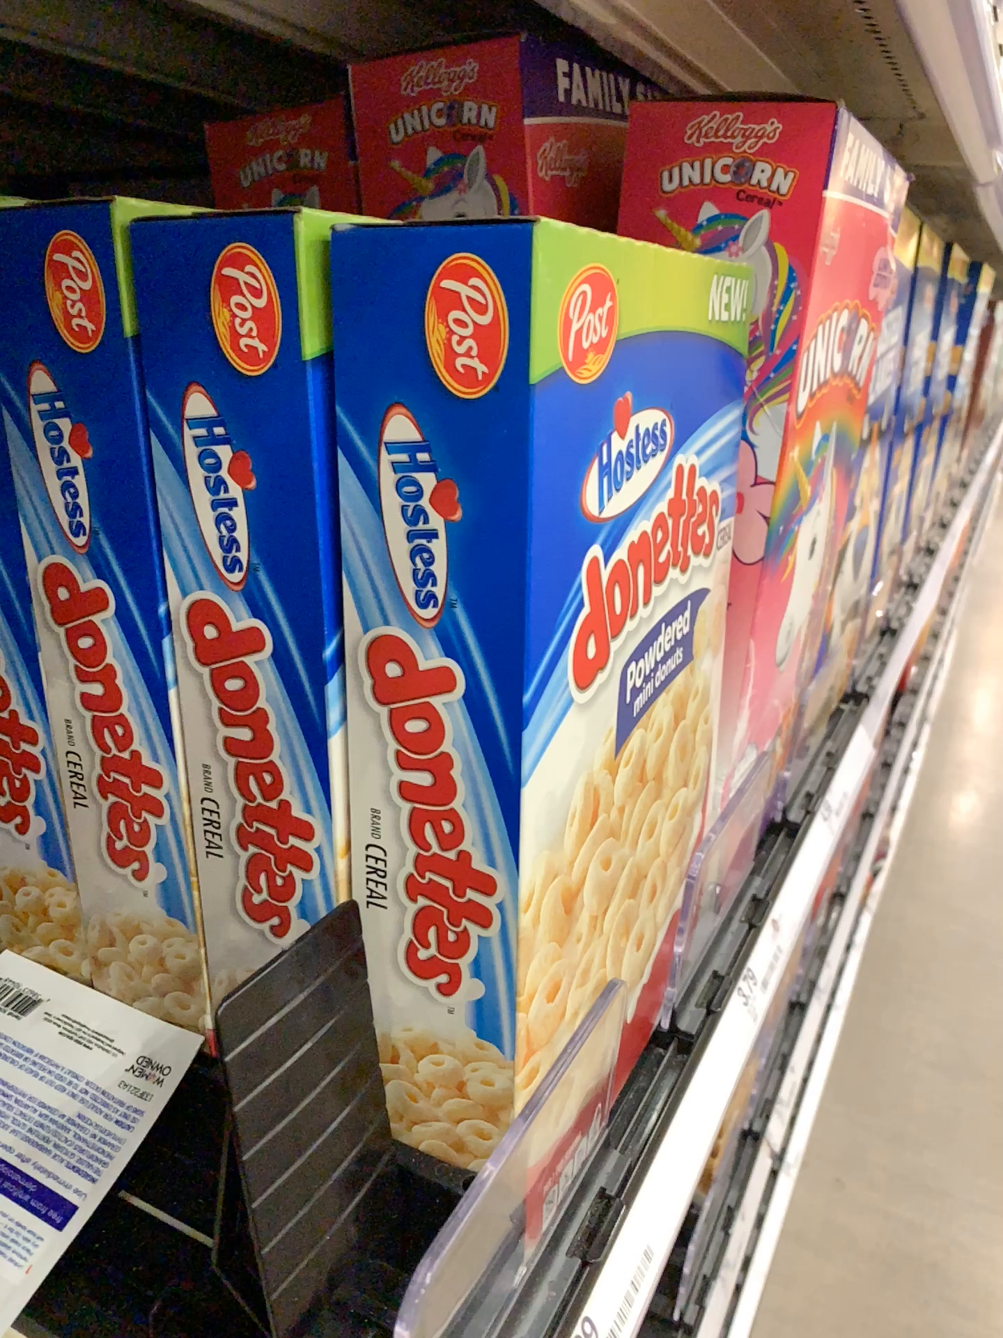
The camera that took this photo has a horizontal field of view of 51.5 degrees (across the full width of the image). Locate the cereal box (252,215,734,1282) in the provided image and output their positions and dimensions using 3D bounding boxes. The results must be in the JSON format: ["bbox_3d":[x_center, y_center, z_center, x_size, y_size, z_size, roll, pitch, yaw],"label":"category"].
[{"bbox_3d":[0.012,0.009,0.338,0.060,0.269,0.191,9,19,24],"label":"cereal box"}]
